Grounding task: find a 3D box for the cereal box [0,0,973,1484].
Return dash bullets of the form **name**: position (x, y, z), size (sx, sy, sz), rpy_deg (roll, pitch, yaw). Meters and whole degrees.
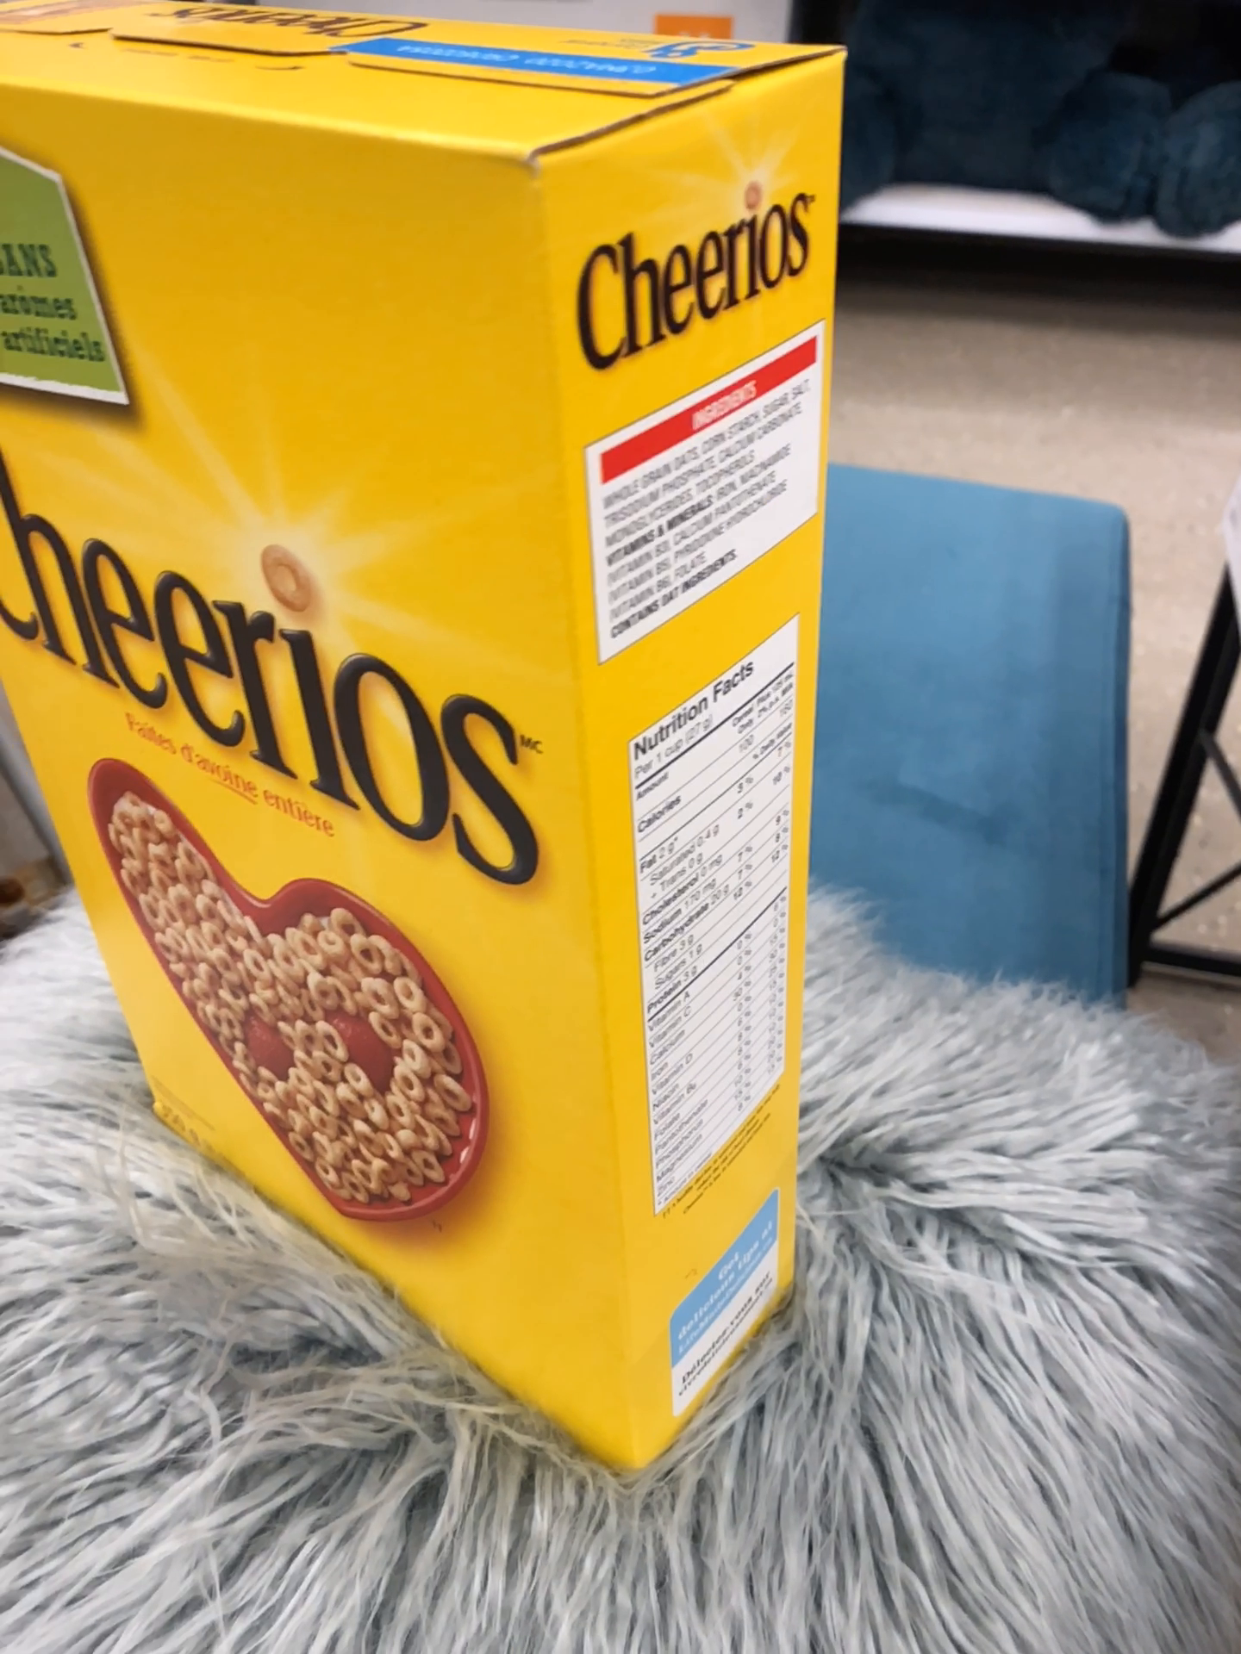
- **cereal box**: position (-0.057, -0.016, 0.315), size (0.210, 0.289, 0.080), rpy_deg (25, 44, 28)
